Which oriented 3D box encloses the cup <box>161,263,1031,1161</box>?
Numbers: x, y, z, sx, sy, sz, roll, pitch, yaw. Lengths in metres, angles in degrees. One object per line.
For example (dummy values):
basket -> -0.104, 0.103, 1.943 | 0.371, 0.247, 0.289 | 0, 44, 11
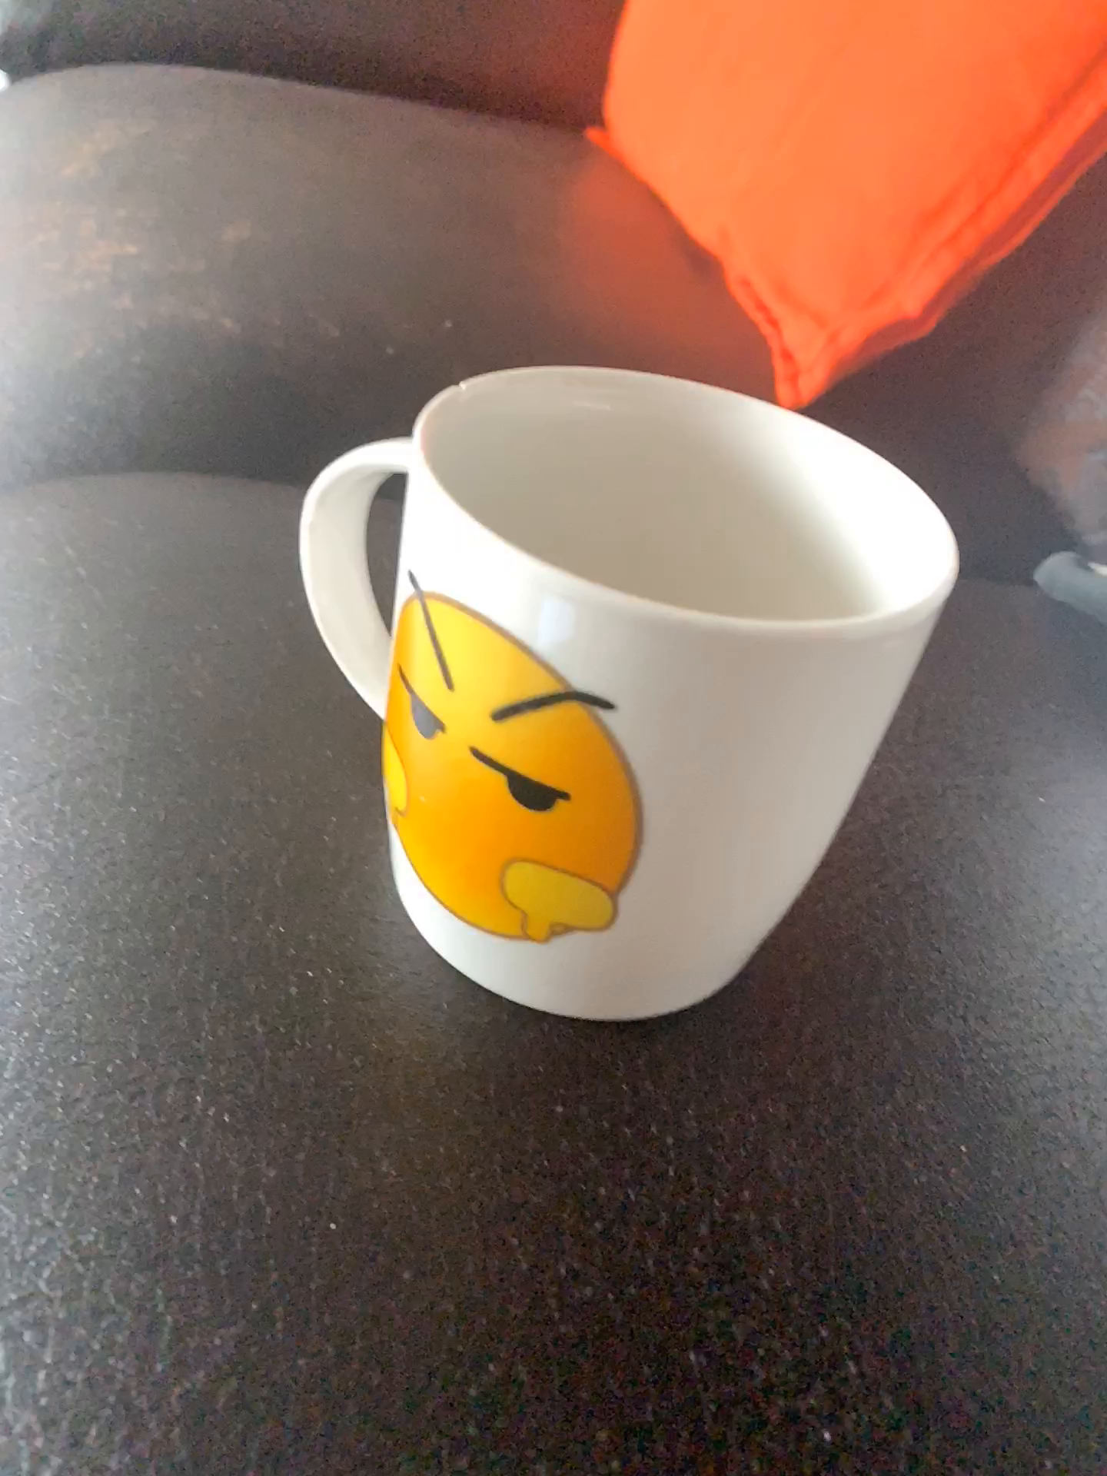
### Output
cup -> -0.002, -0.014, 0.216 | 0.120, 0.099, 0.080 | 35, 42, 25
